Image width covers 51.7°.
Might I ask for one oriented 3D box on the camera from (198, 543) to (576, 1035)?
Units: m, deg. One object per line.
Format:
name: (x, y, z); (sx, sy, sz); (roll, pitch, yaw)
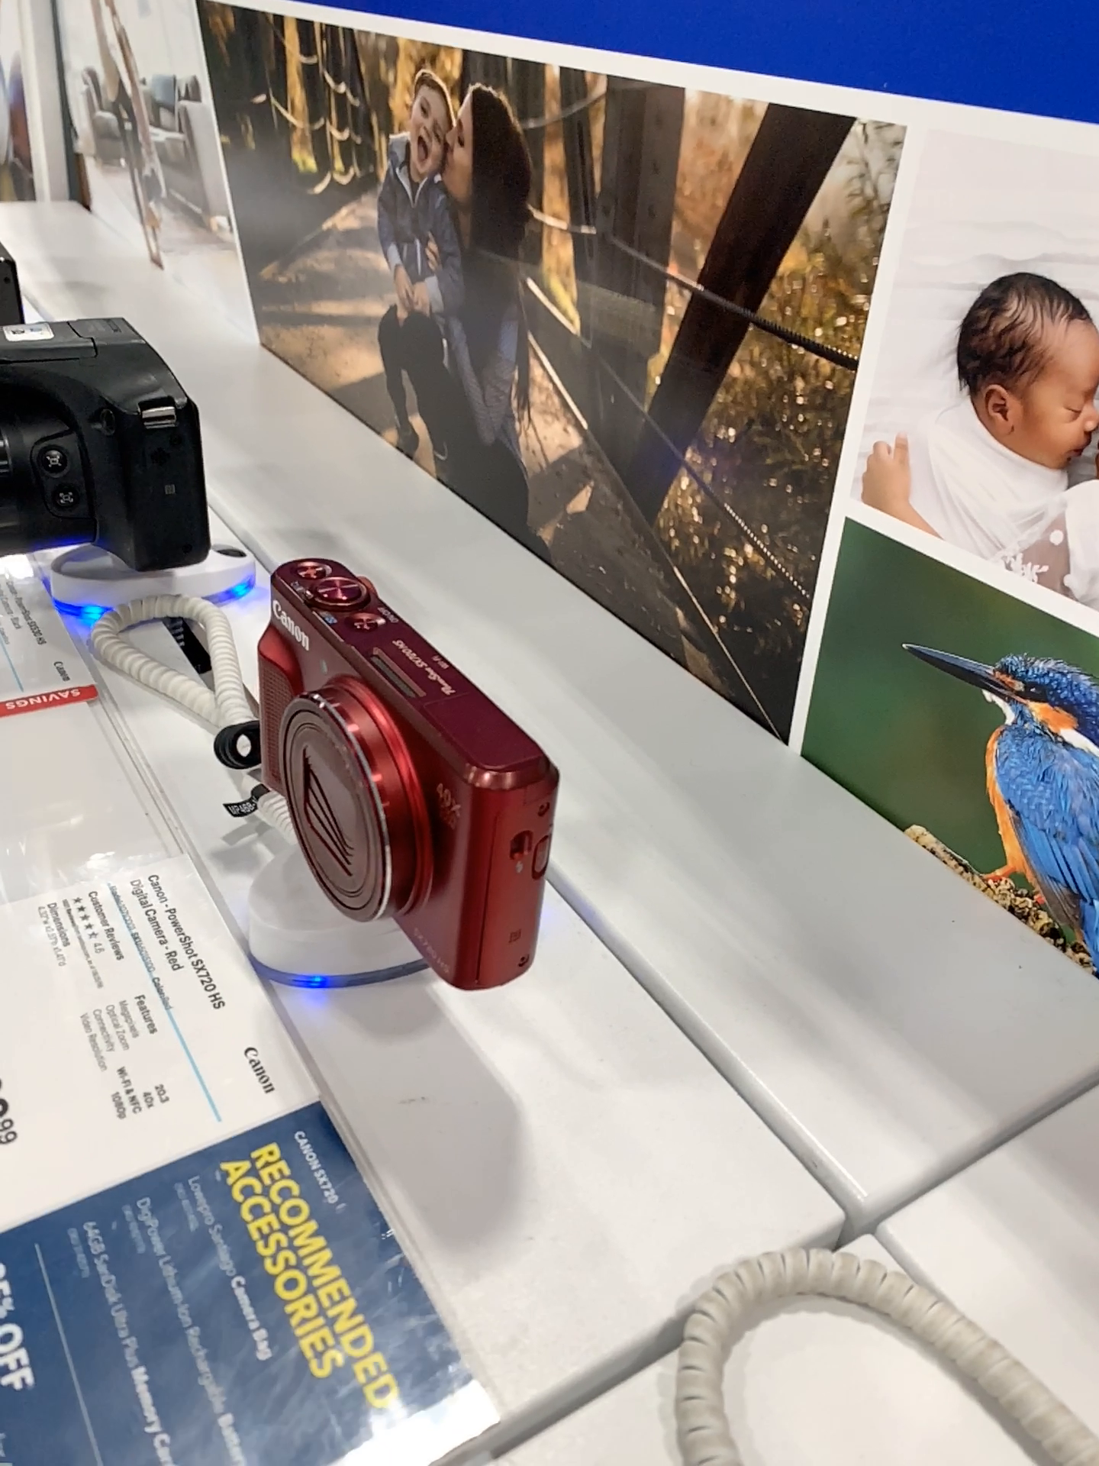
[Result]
camera: (-0.044, 0.007, 0.271); (0.037, 0.060, 0.110); (-15, 40, -32)
